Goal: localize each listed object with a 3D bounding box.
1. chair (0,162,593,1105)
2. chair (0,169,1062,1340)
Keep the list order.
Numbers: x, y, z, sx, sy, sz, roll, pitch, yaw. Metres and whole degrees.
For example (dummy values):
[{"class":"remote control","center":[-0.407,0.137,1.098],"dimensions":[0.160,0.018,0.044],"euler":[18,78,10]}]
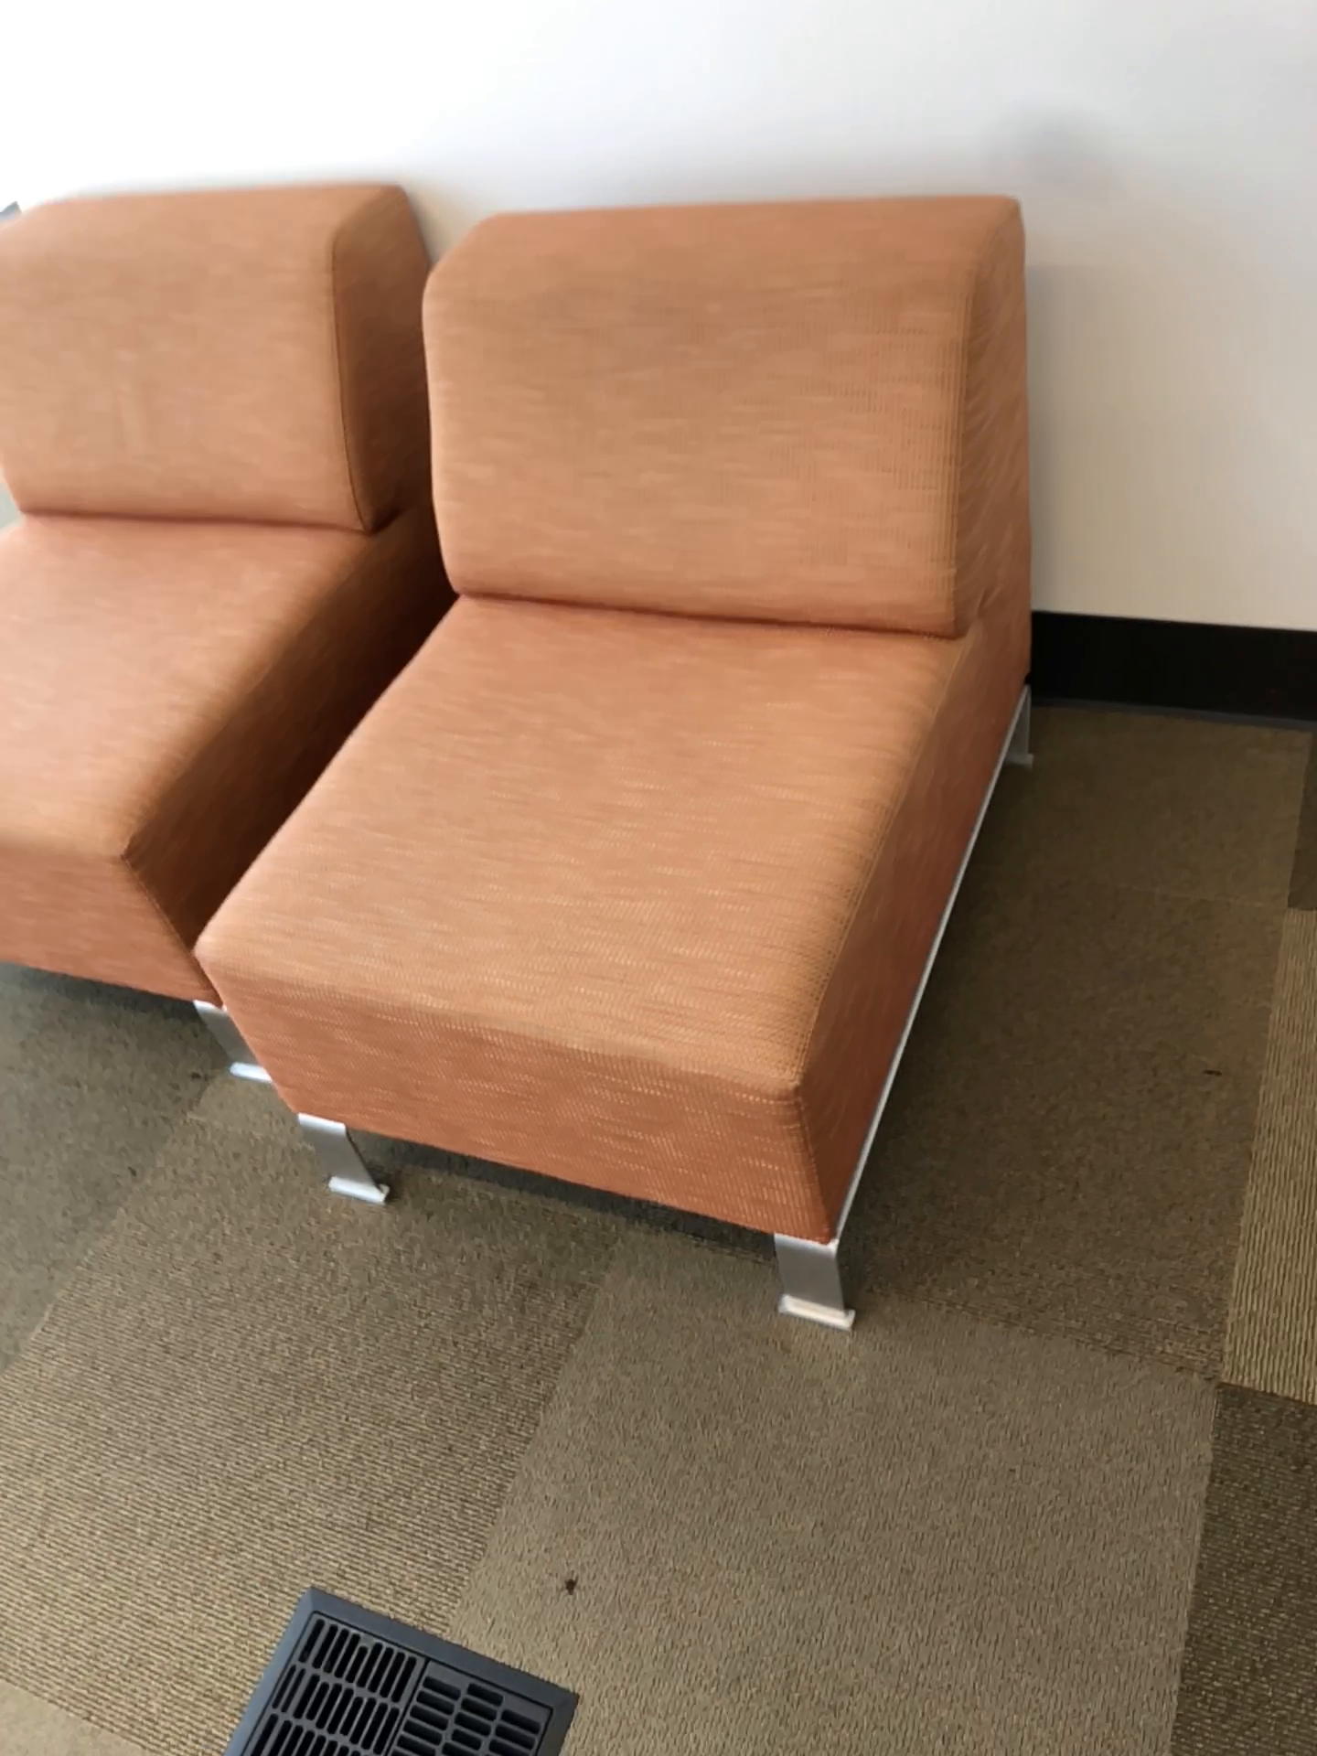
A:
[{"class":"chair","center":[-0.704,-0.371,2.021],"dimensions":[0.765,0.809,0.935],"euler":[8,48,23]},{"class":"chair","center":[-0.007,-0.184,1.592],"dimensions":[0.695,0.759,0.925],"euler":[9,48,24]}]
